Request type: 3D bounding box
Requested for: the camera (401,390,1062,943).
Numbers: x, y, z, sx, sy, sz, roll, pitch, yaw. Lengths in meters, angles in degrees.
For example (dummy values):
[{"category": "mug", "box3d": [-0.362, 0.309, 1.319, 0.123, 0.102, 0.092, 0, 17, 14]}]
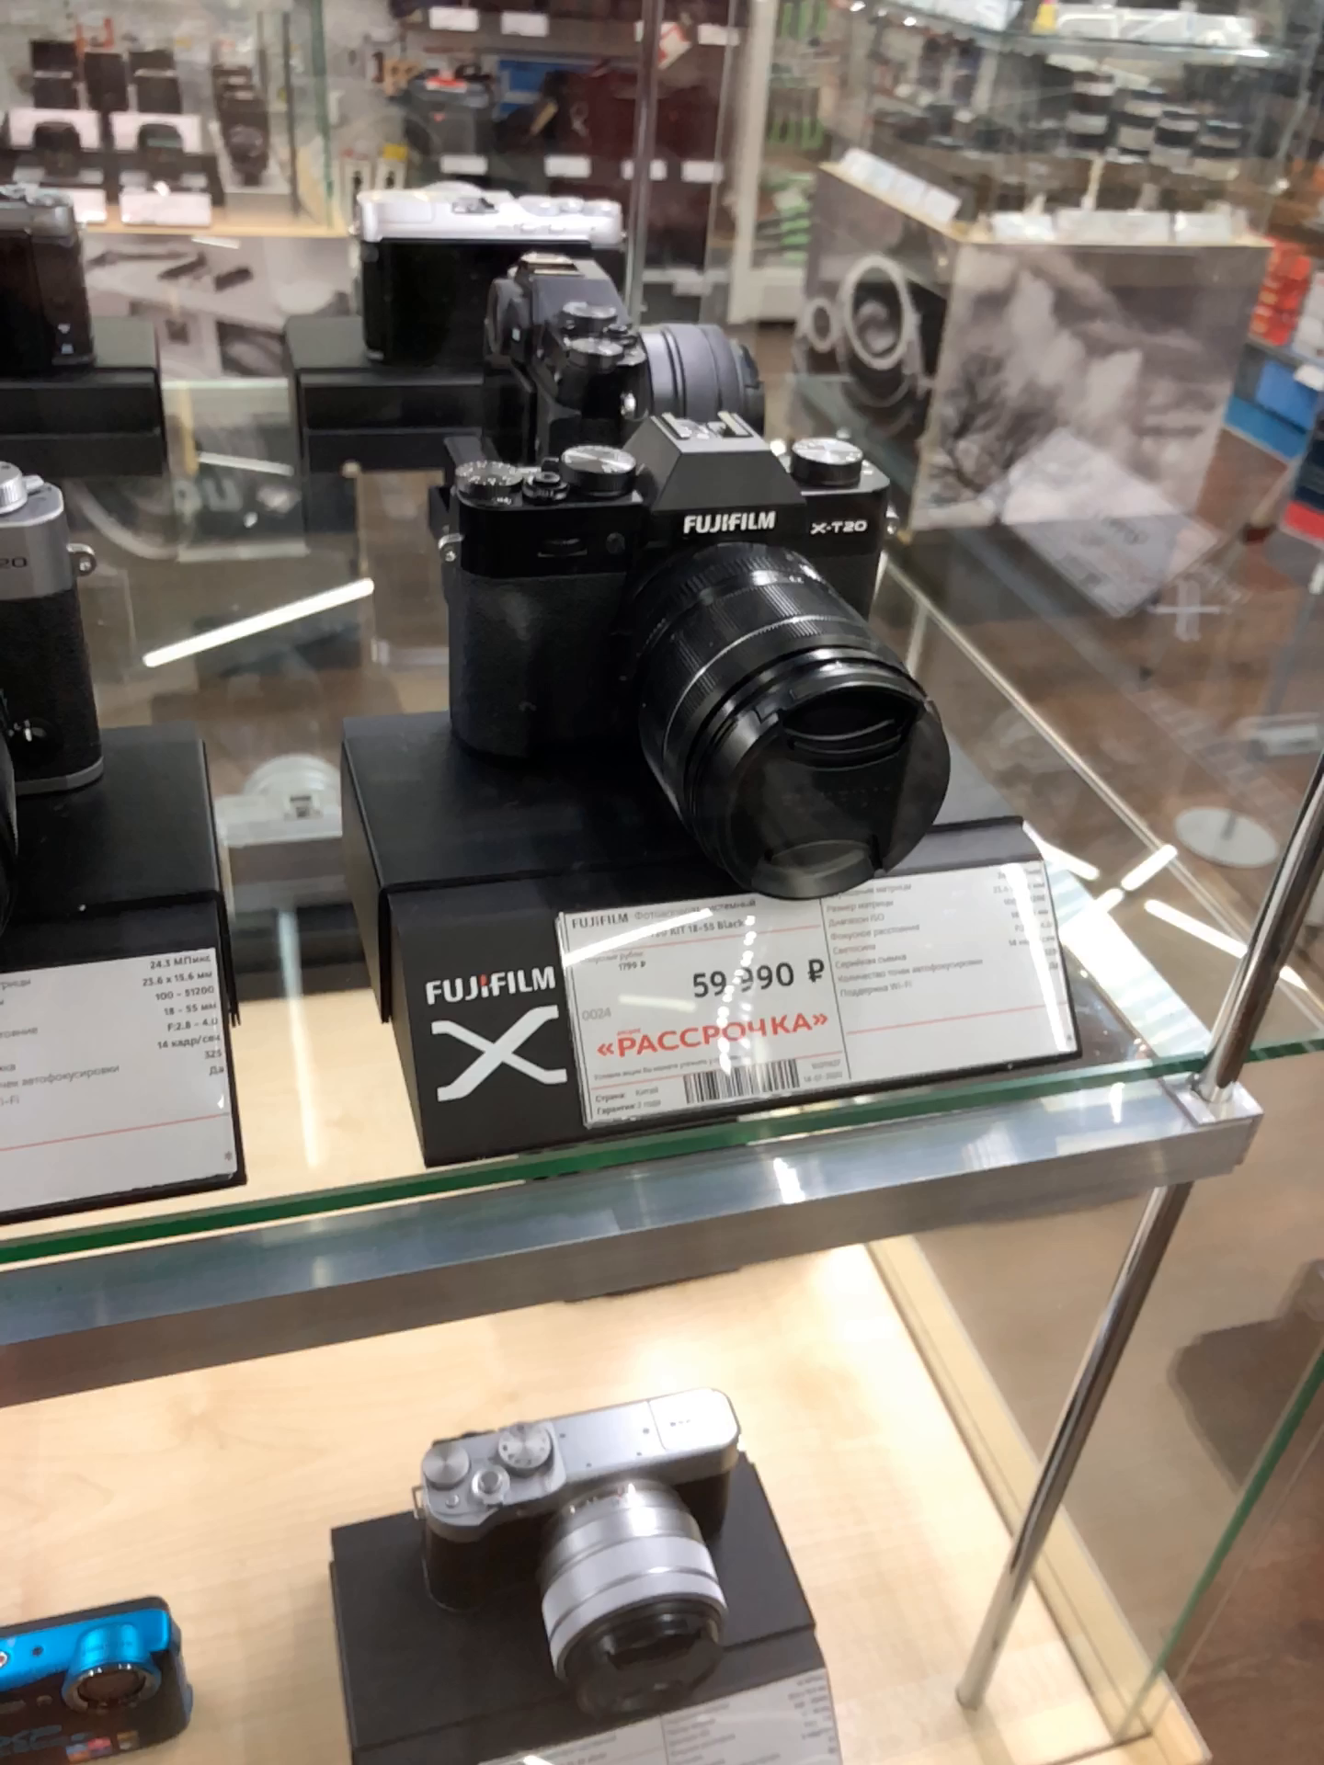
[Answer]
[{"category": "camera", "box3d": [0.007, -0.062, 0.366, 0.121, 0.081, 0.122, -7, 37, -17]}]
